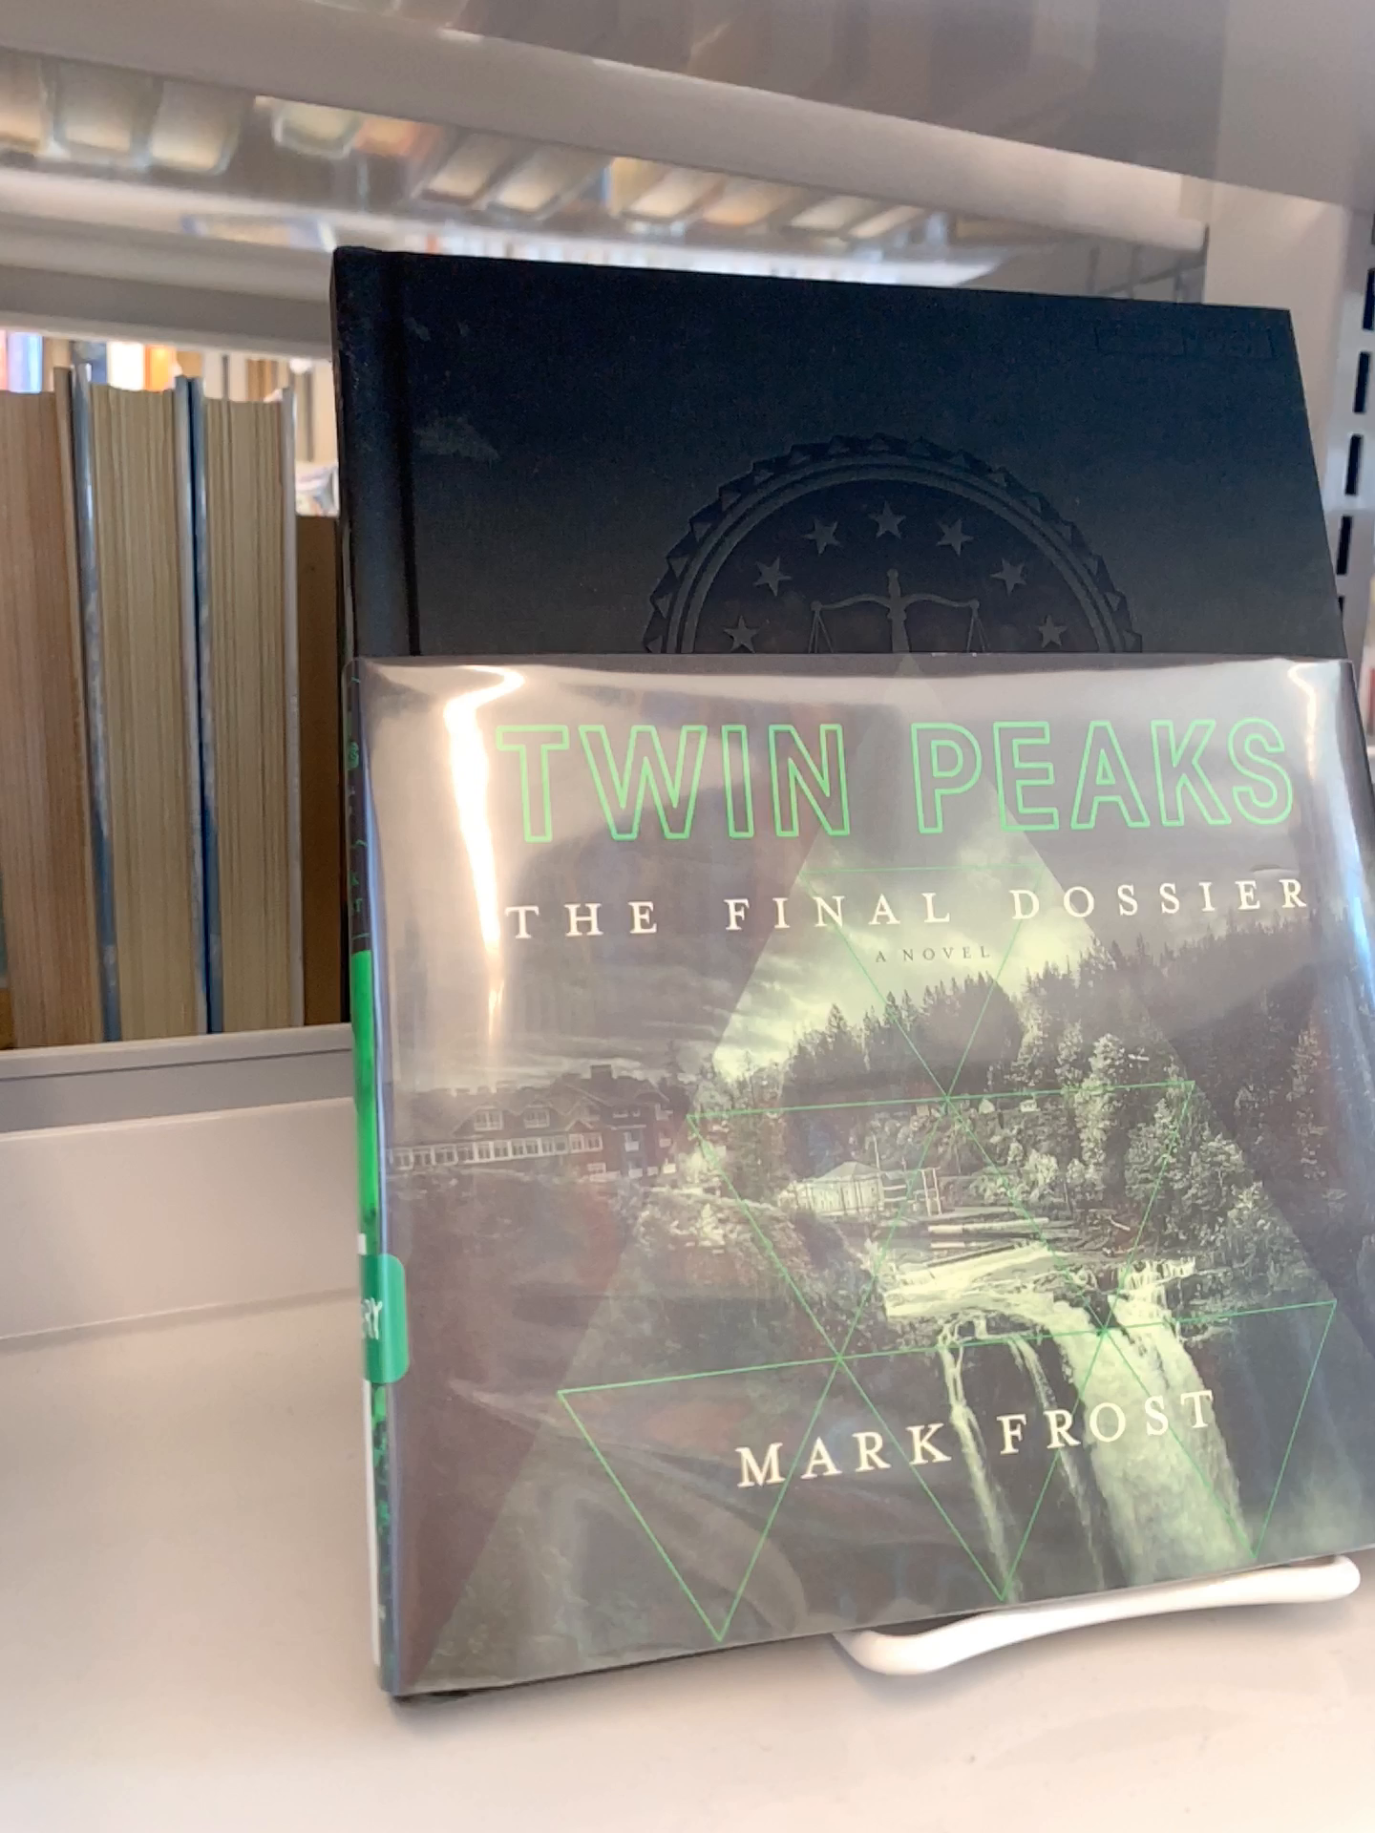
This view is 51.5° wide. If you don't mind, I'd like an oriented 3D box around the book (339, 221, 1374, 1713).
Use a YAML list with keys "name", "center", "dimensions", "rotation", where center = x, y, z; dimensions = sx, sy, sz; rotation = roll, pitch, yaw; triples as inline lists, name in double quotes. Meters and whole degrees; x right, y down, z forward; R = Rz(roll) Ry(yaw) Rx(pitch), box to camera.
- name: "book"
  center: [0.040, -0.002, 0.248]
  dimensions: [0.190, 0.228, 0.020]
  rotation: [-2, -8, -13]
